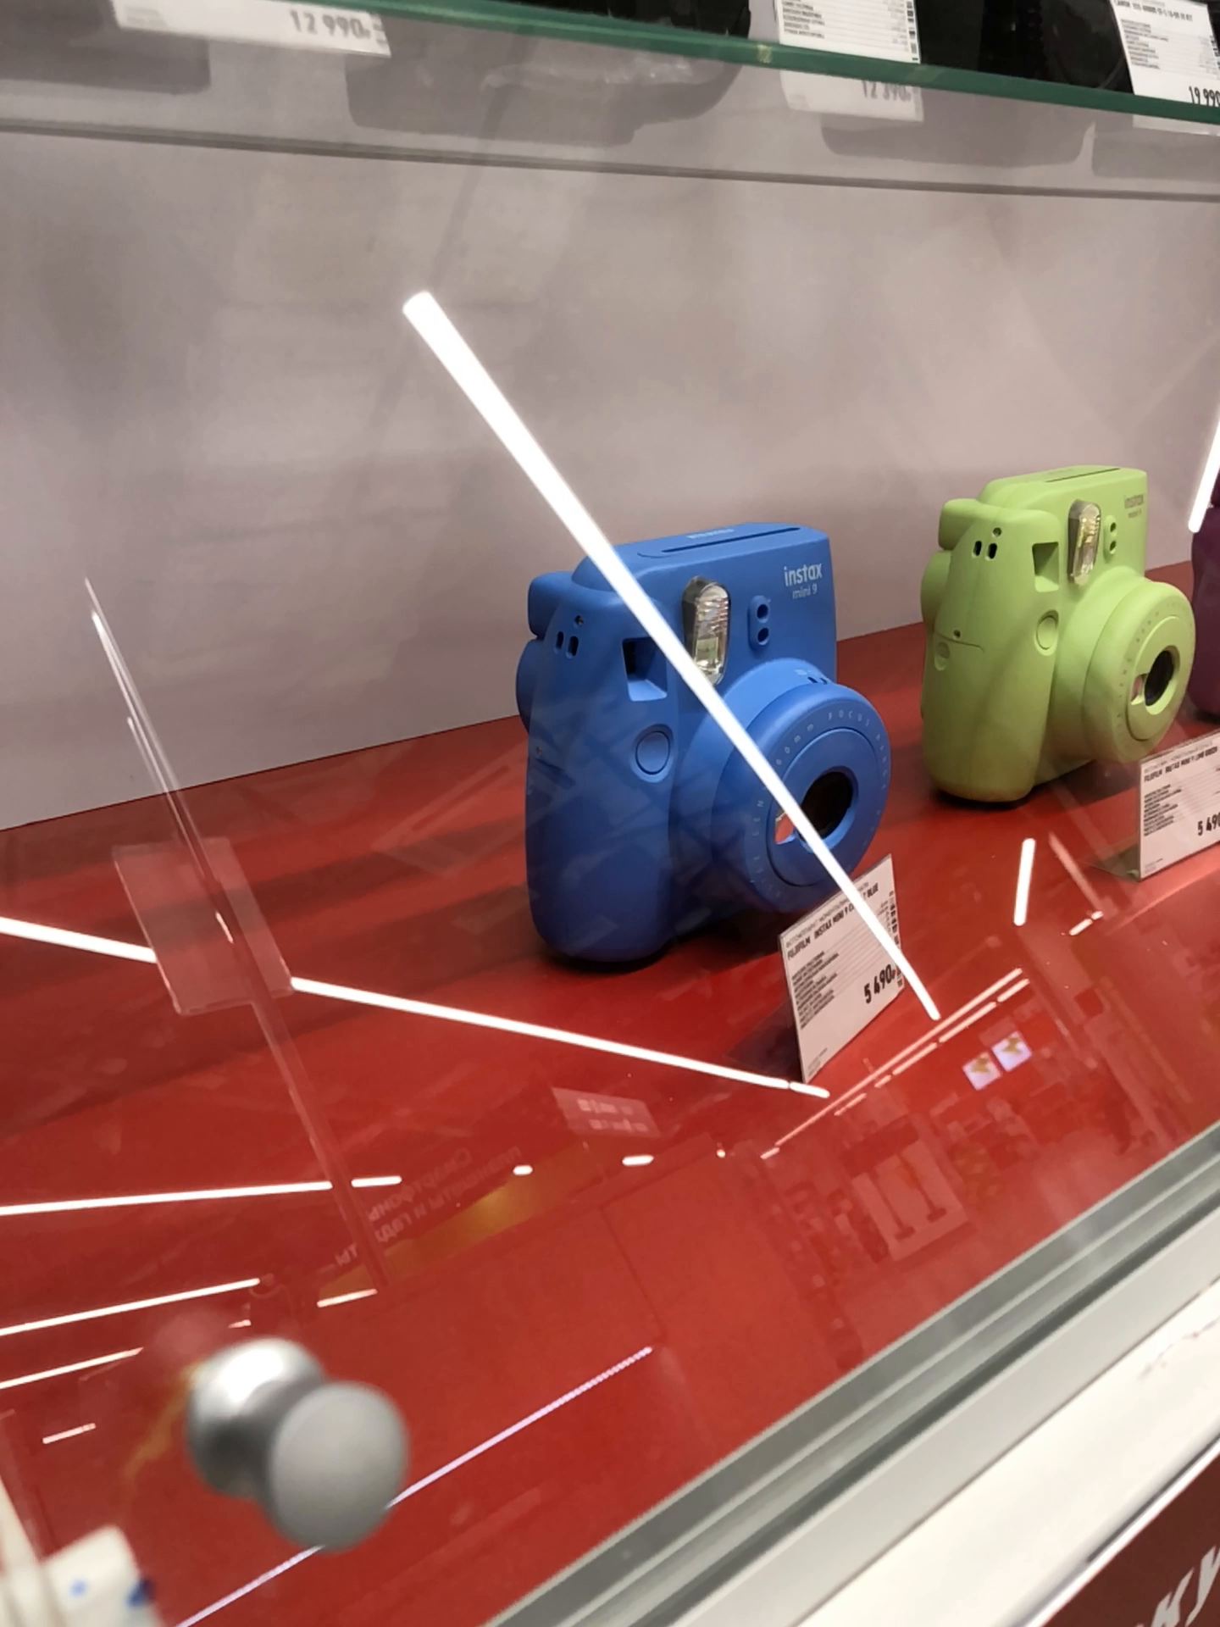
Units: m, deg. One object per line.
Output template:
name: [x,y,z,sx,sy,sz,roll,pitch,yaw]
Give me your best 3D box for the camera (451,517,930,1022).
camera: [0.025,-0.021,0.397,0.123,0.109,0.070,-19,29,-41]
